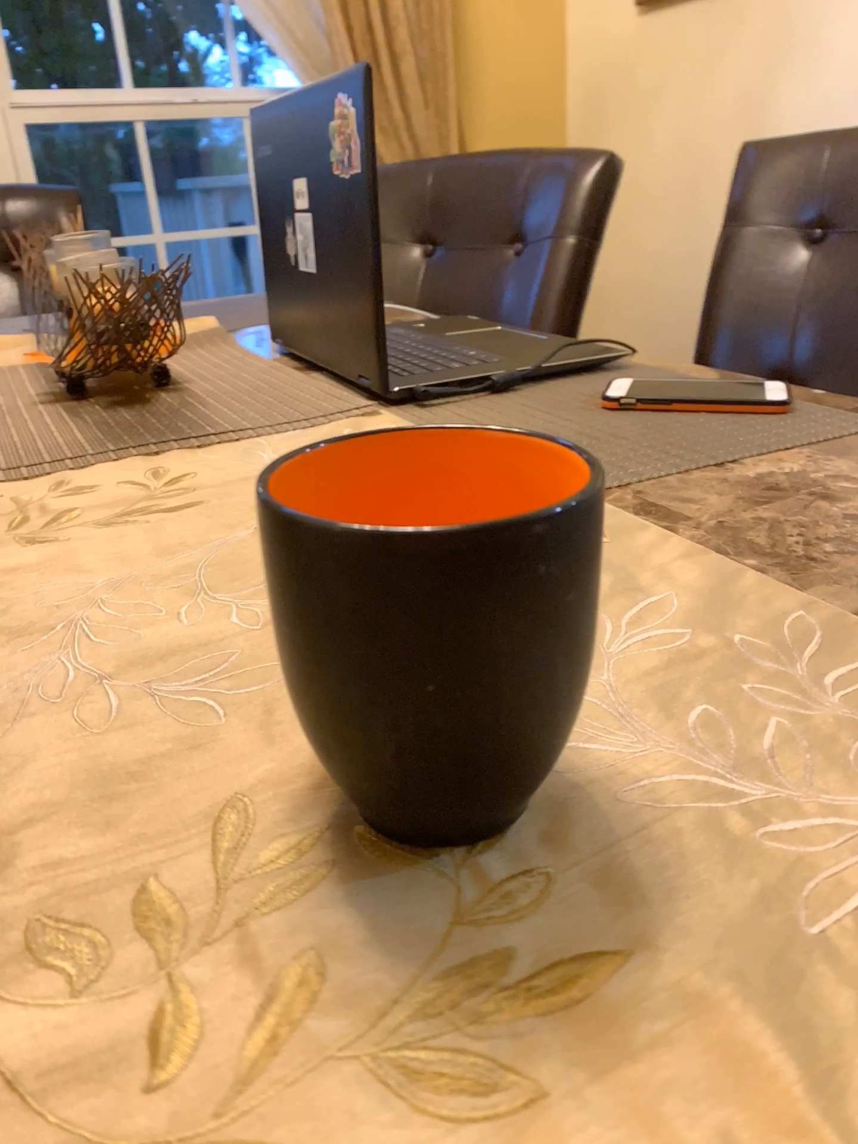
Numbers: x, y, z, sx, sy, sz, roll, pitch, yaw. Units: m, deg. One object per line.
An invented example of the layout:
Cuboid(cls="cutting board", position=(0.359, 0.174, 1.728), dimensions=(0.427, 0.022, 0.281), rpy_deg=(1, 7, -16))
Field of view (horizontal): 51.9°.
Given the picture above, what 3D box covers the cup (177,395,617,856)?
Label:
Cuboid(cls="cup", position=(0.002, 0.005, 0.274), dimensions=(0.099, 0.087, 0.133), rpy_deg=(-1, 24, 7))
